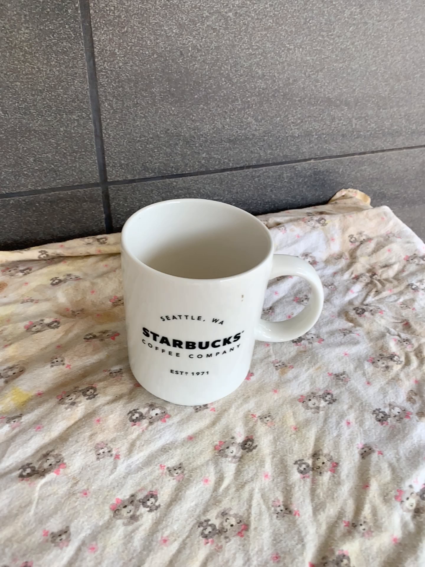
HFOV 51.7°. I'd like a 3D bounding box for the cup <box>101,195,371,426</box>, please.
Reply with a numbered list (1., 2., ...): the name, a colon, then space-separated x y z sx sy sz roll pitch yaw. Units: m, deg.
1. cup: 0.006 0.015 0.278 0.130 0.110 0.090 -2 40 -7
